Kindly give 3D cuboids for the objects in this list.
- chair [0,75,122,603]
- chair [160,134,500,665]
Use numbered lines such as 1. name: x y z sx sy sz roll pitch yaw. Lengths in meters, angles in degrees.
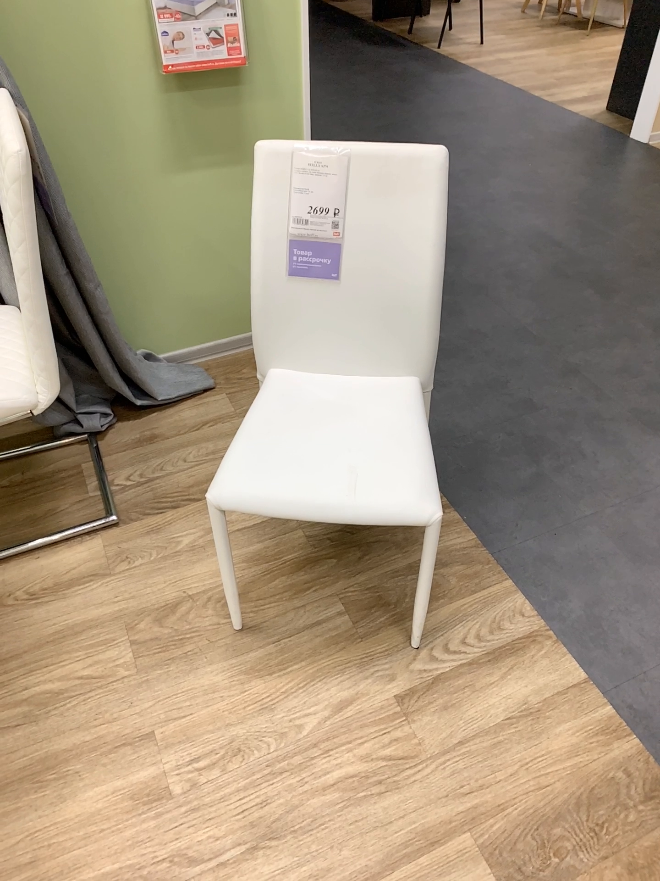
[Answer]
1. chair: -0.879 -0.191 1.480 0.561 0.945 0.452 -17 45 -18
2. chair: 0.025 -0.050 1.401 0.450 0.925 0.553 4 42 5
